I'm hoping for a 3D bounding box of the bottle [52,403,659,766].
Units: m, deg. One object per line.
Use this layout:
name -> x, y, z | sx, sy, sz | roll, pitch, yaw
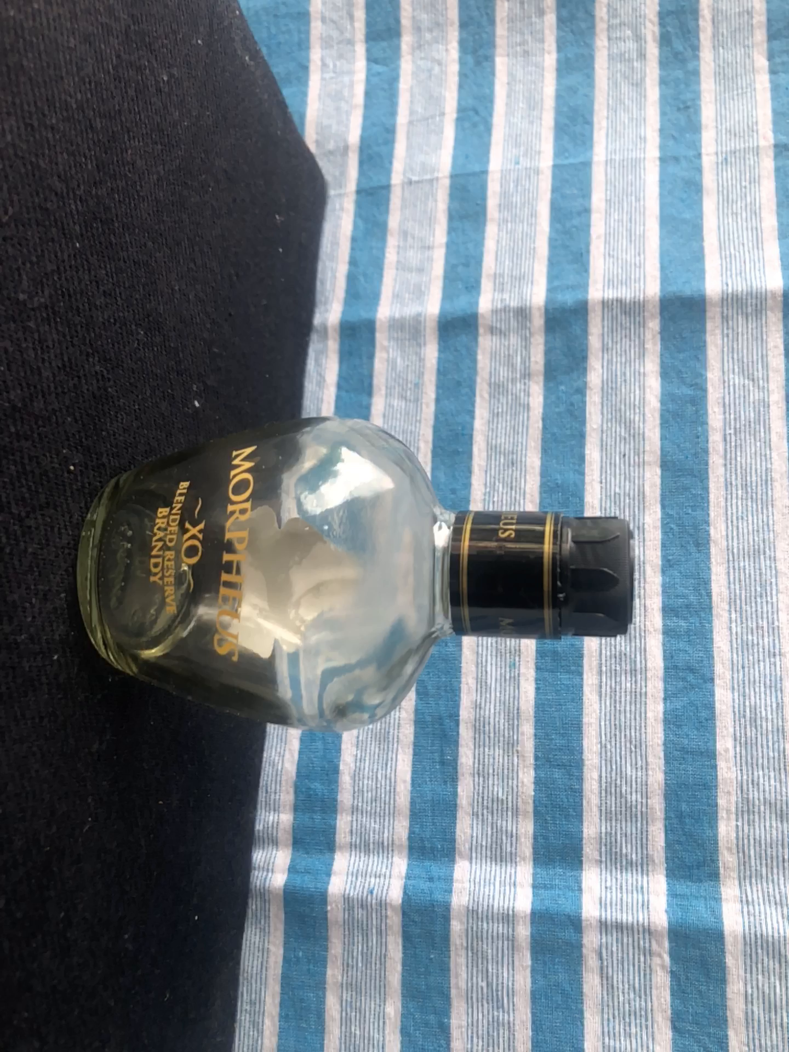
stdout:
bottle -> -0.006, 0.013, 0.210 | 0.050, 0.129, 0.070 | 28, 64, -74
